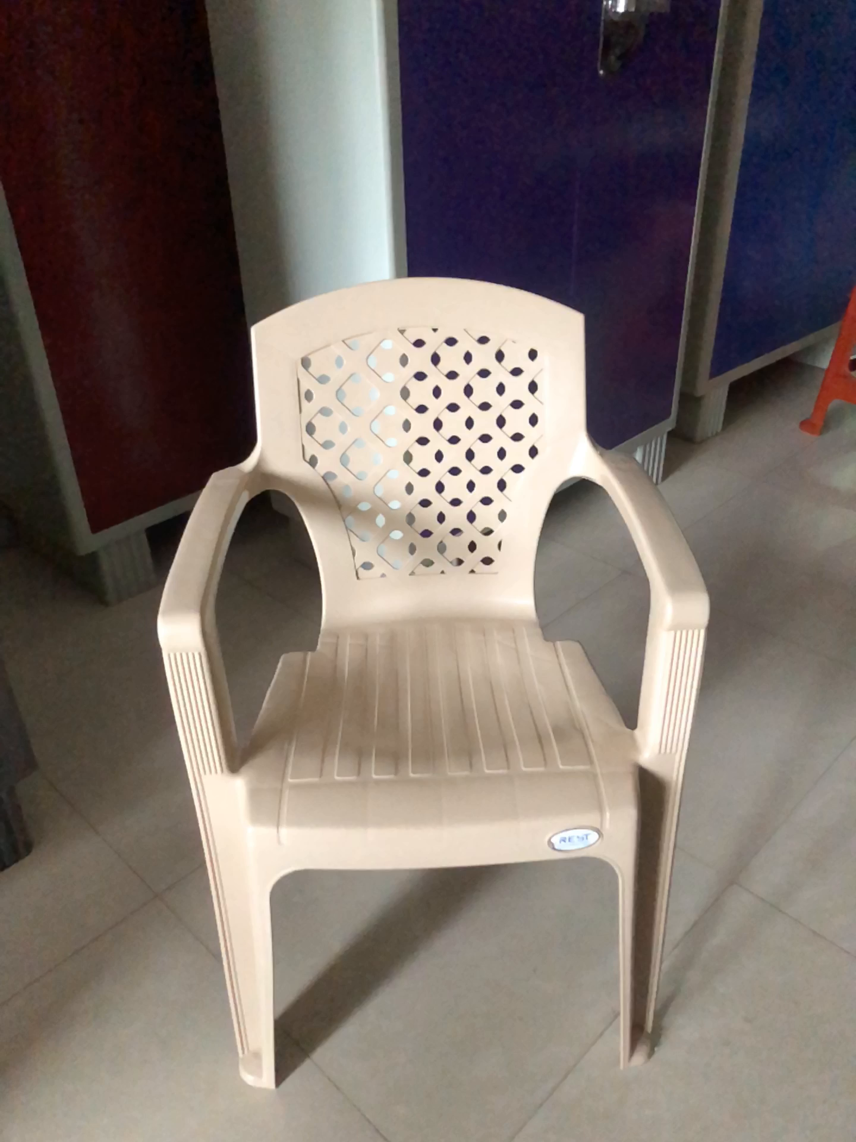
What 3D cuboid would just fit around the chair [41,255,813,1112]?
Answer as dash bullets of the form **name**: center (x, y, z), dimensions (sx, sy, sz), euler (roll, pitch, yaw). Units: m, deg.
- **chair**: center (0.008, 0.120, 1.104), dimensions (0.540, 0.796, 0.563), euler (-3, 32, 0)
